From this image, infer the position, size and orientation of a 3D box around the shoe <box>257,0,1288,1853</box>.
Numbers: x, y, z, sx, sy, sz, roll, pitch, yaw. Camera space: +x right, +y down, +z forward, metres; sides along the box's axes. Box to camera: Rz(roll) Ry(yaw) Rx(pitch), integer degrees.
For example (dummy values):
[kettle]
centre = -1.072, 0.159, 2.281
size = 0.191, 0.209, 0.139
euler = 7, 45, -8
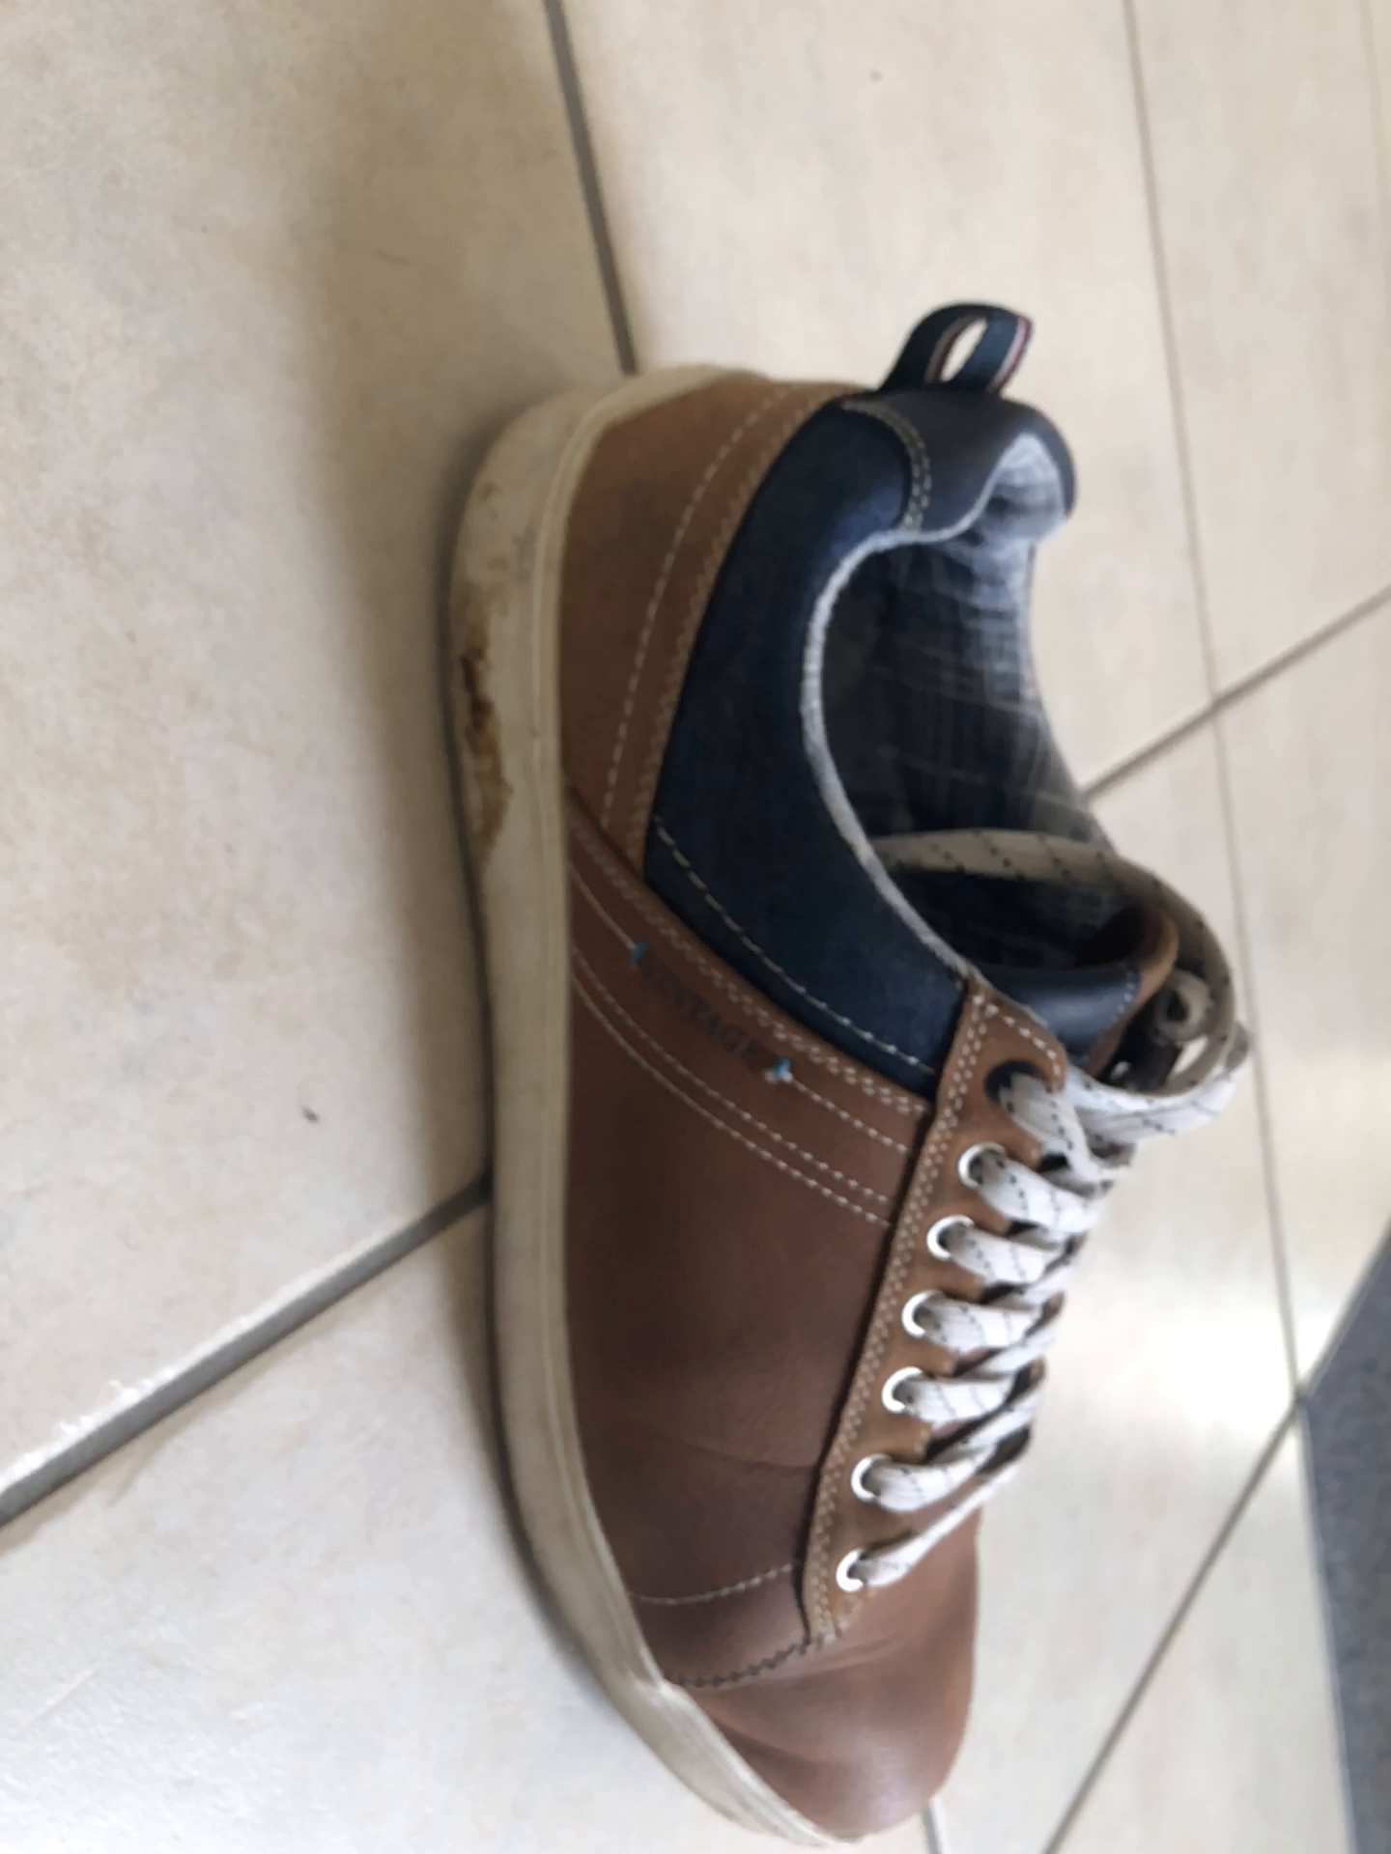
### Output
[shoe]
centre = 0.023, 0.036, 0.288
size = 0.101, 0.119, 0.320
euler = -17, 103, -51
